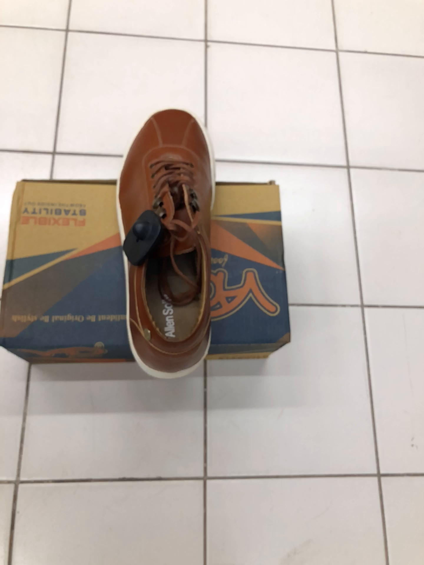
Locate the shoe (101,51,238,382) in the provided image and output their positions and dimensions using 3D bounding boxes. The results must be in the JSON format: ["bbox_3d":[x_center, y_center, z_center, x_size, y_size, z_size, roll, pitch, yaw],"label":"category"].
[{"bbox_3d":[-0.041,-0.056,0.439,0.100,0.110,0.281,0,73,-6],"label":"shoe"}]
